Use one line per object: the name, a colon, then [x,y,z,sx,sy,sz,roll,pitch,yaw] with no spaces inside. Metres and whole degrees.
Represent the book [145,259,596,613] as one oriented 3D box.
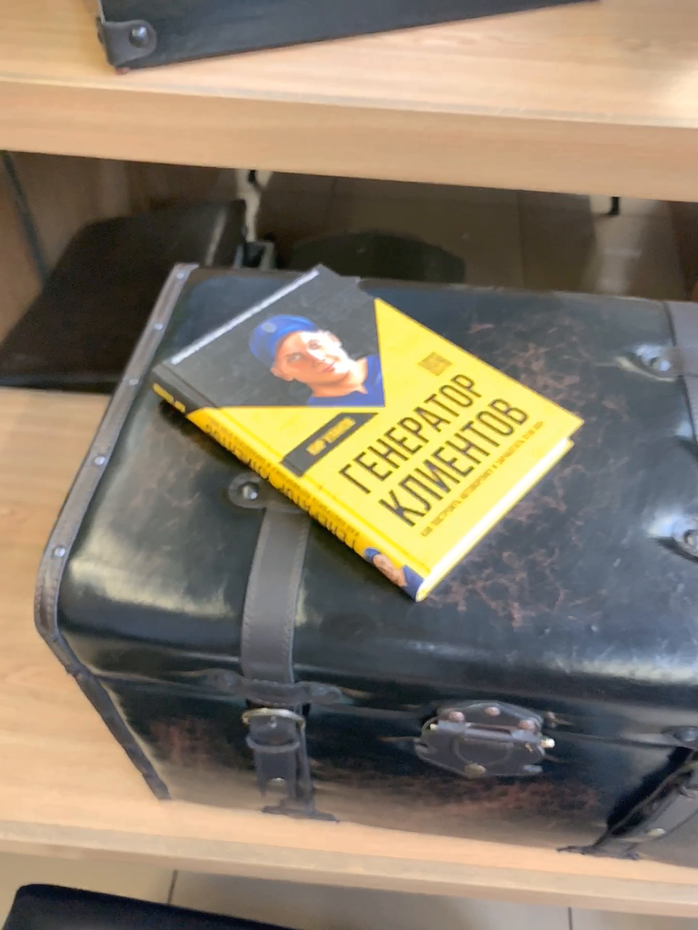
book: [0.009,-0.039,0.482,0.242,0.030,0.167,36,59,26]
